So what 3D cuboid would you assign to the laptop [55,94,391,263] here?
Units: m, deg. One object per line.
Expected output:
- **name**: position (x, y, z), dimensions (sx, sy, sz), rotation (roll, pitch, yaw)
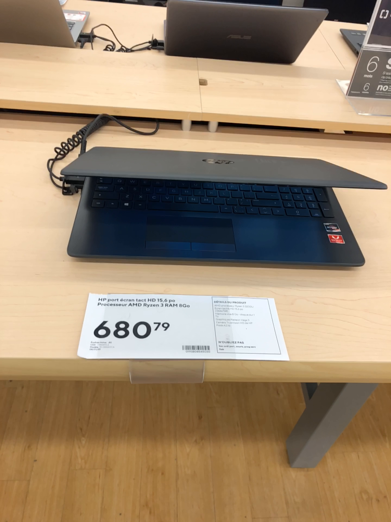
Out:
- **laptop**: position (0.032, -0.117, 0.577), dimensions (0.366, 0.090, 0.243), rotation (2, 44, -6)
